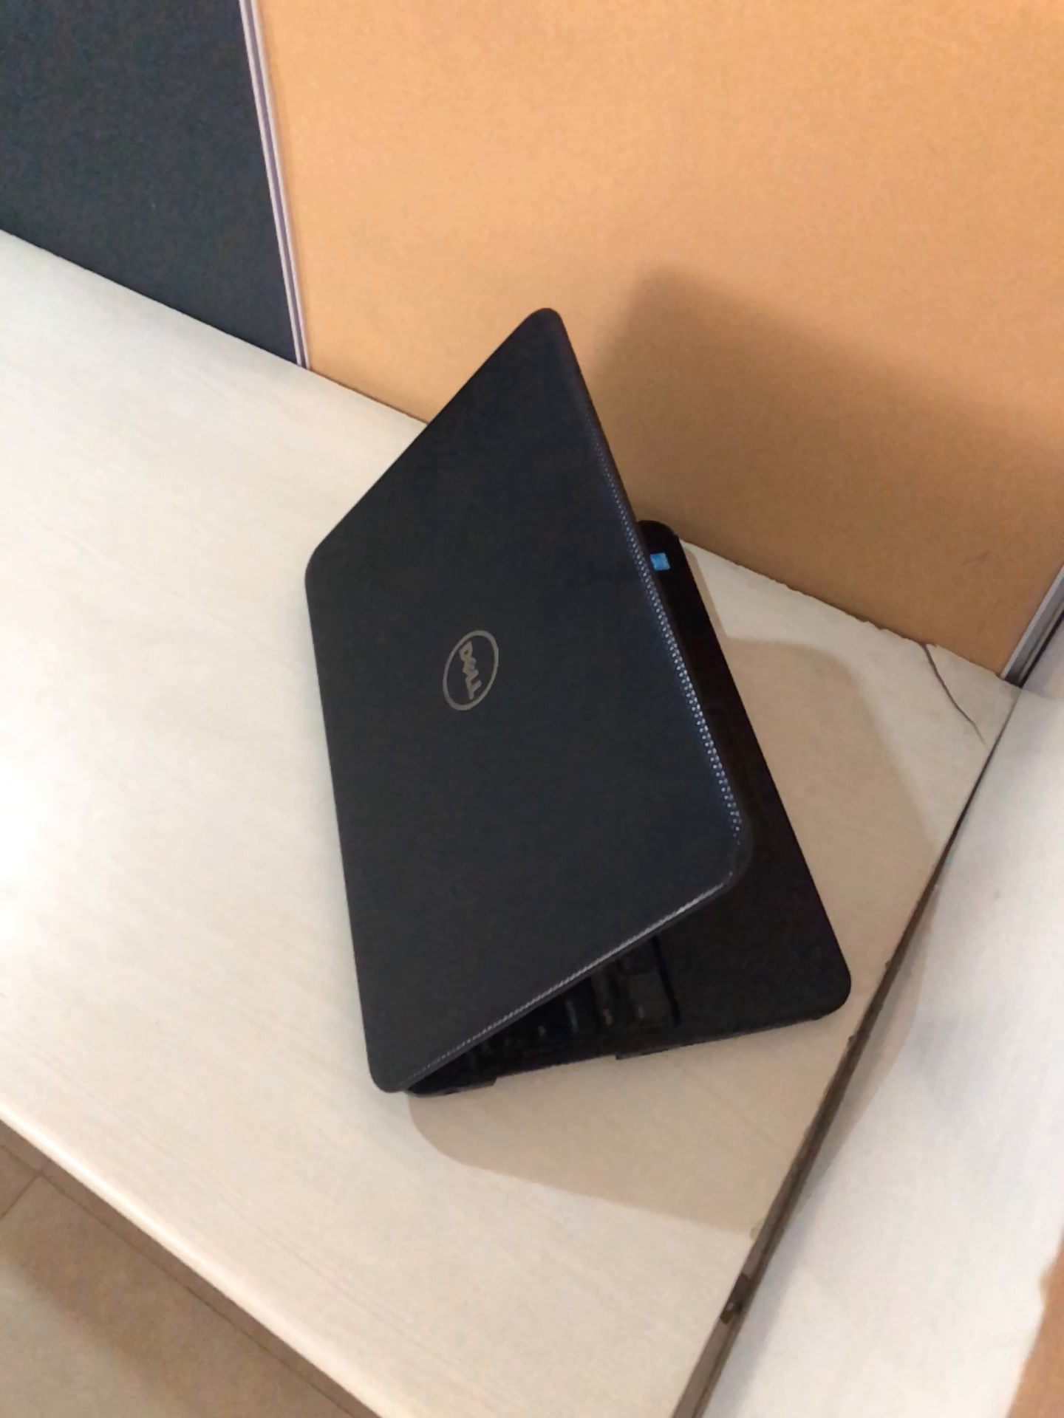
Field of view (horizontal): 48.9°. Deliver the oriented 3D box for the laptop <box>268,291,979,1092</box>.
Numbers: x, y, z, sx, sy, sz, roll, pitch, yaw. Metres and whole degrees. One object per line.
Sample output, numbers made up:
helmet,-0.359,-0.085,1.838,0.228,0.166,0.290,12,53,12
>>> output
laptop,0.018,-0.024,0.622,0.254,0.179,0.354,-8,57,-9
